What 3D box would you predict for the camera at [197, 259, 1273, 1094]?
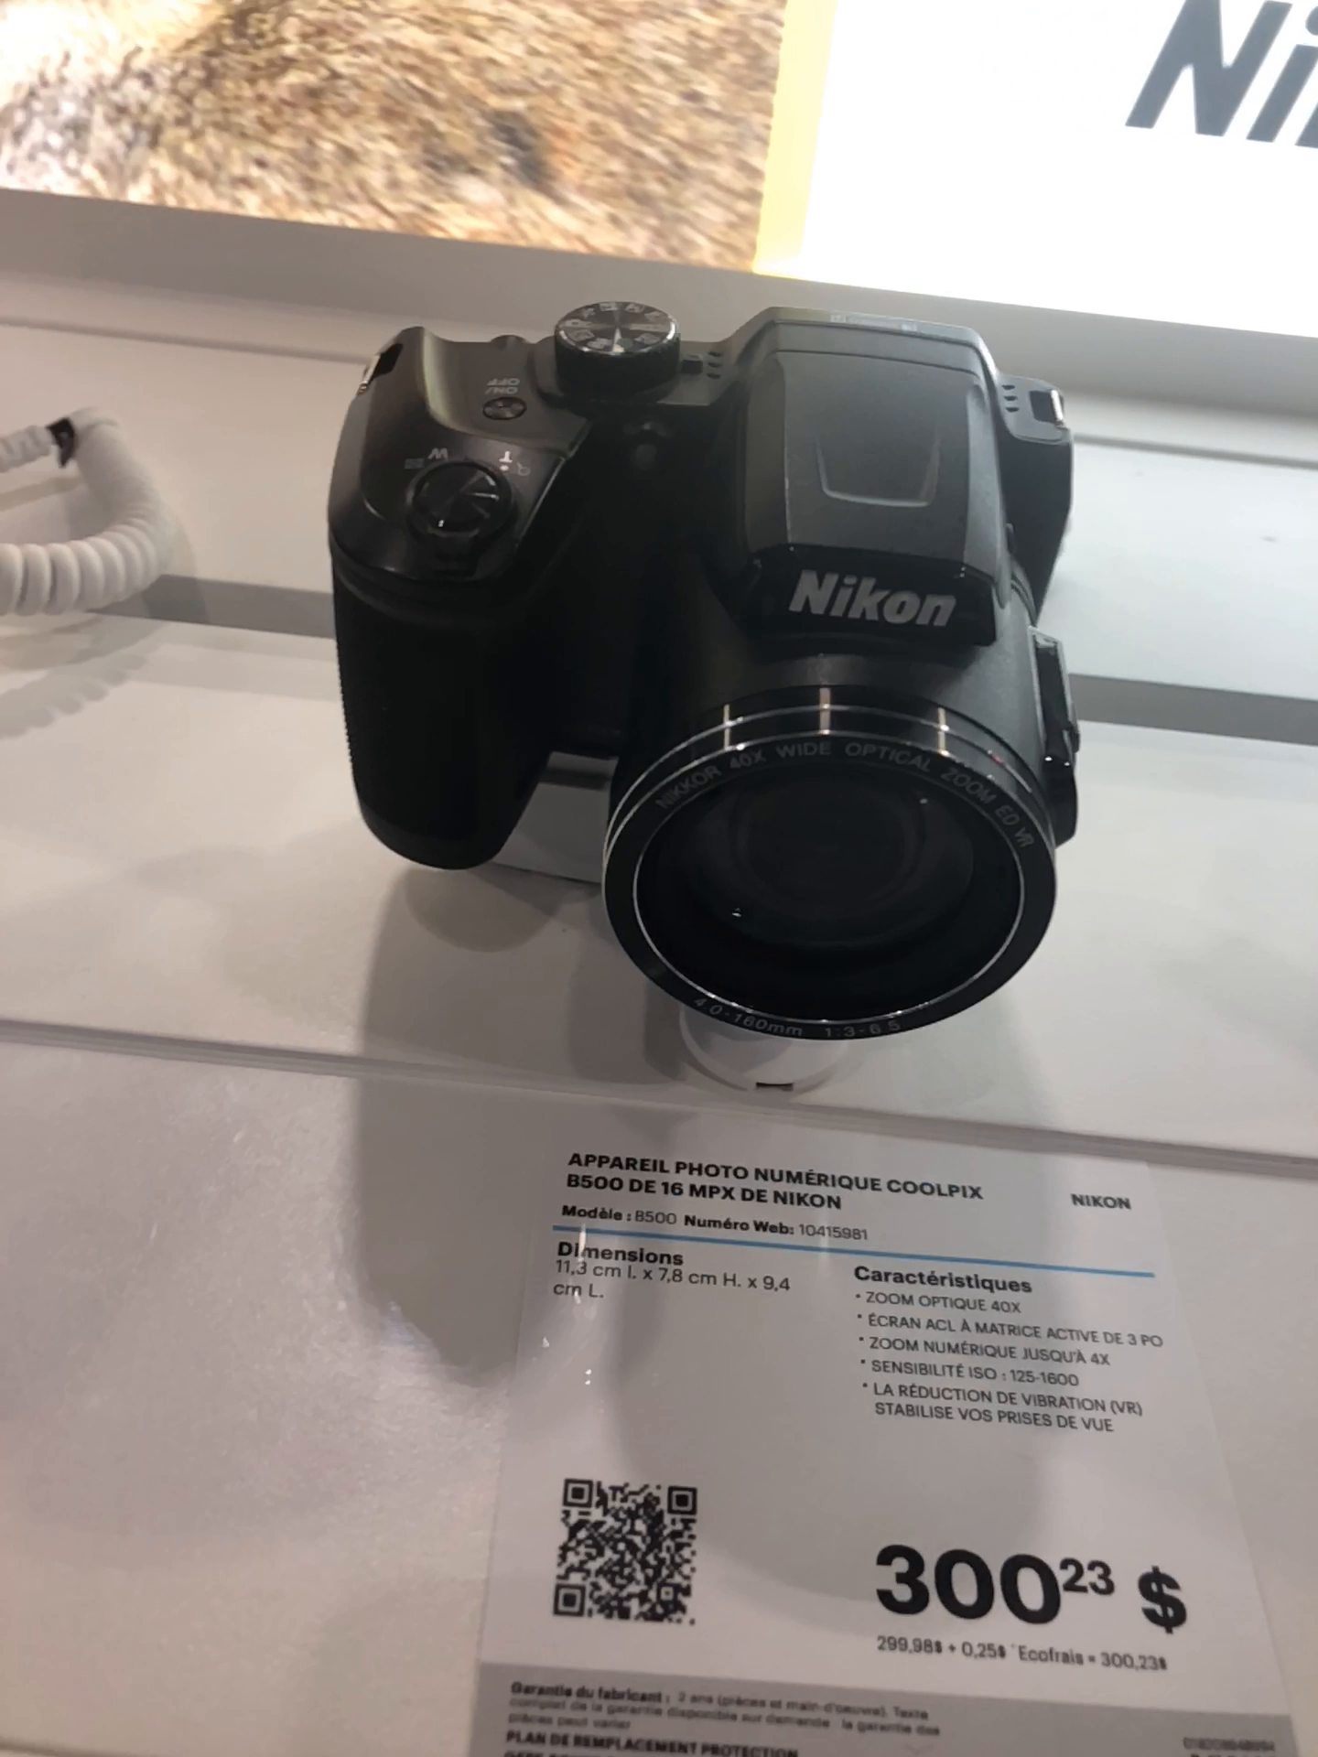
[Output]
[{"bbox_3d":[0.008,-0.031,0.205,0.111,0.069,0.085,6,41,0],"label":"camera"}]
